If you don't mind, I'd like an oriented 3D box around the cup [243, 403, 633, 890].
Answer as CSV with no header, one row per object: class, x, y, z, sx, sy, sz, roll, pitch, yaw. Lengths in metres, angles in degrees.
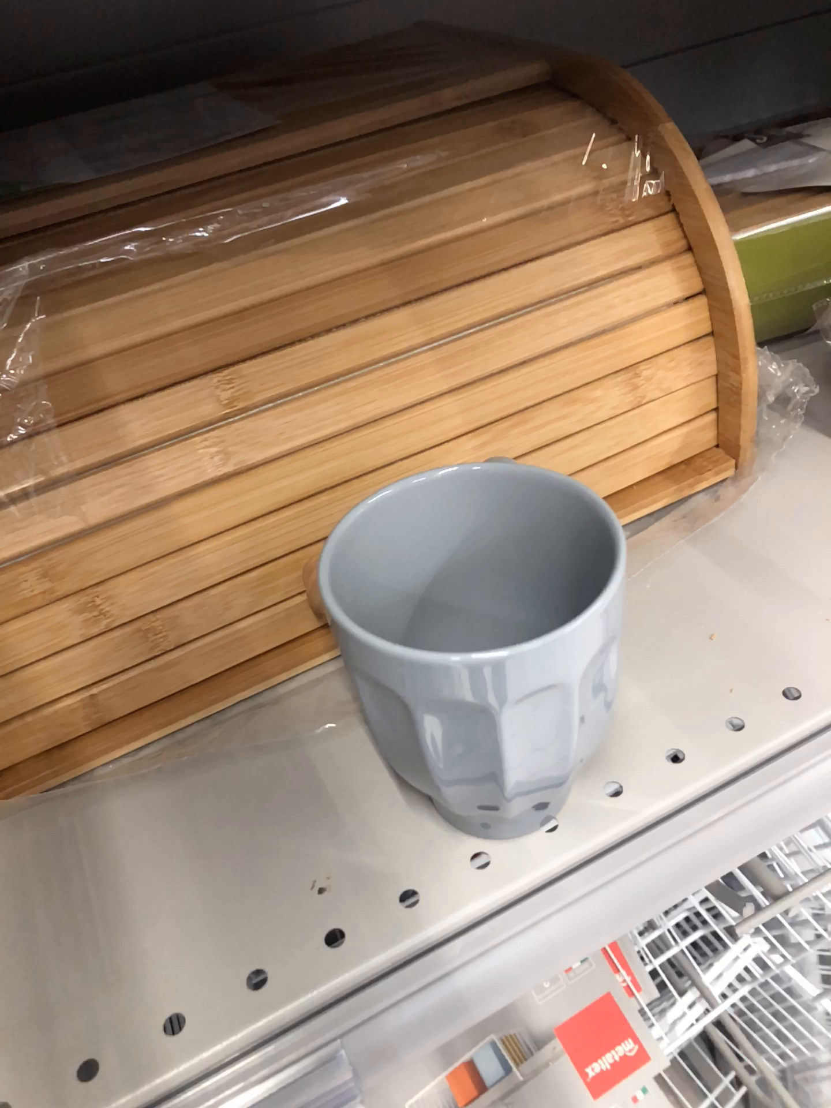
cup,0.017,0.025,0.288,0.092,0.091,0.117,-1,40,10
